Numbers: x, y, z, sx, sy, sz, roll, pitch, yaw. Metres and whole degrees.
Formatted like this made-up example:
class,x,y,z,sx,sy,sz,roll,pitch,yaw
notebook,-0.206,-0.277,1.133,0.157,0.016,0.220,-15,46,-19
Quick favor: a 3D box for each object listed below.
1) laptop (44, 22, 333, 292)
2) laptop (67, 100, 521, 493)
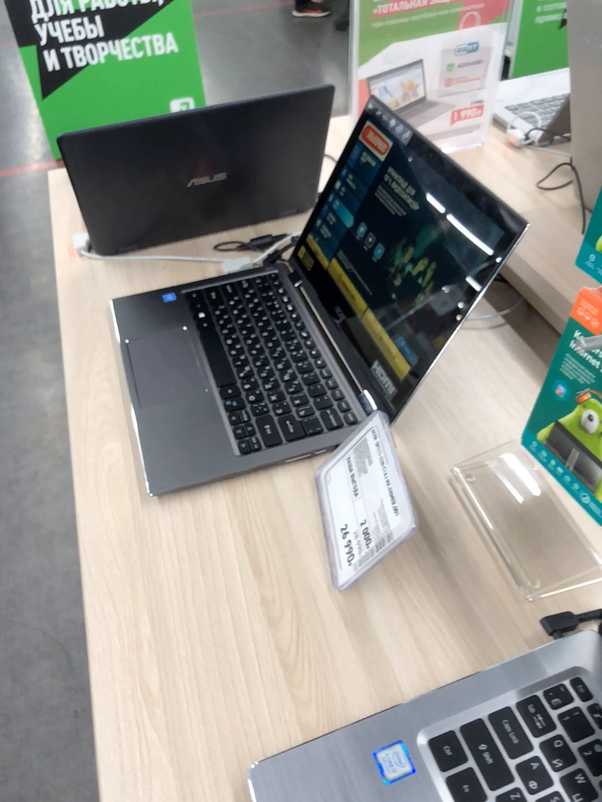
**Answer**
class,x,y,z,sx,sy,sz,roll,pitch,yaw
laptop,-0.142,-0.315,0.821,0.275,0.174,0.288,-15,44,-11
laptop,-0.025,-0.117,0.608,0.303,0.168,0.288,-15,44,-11
